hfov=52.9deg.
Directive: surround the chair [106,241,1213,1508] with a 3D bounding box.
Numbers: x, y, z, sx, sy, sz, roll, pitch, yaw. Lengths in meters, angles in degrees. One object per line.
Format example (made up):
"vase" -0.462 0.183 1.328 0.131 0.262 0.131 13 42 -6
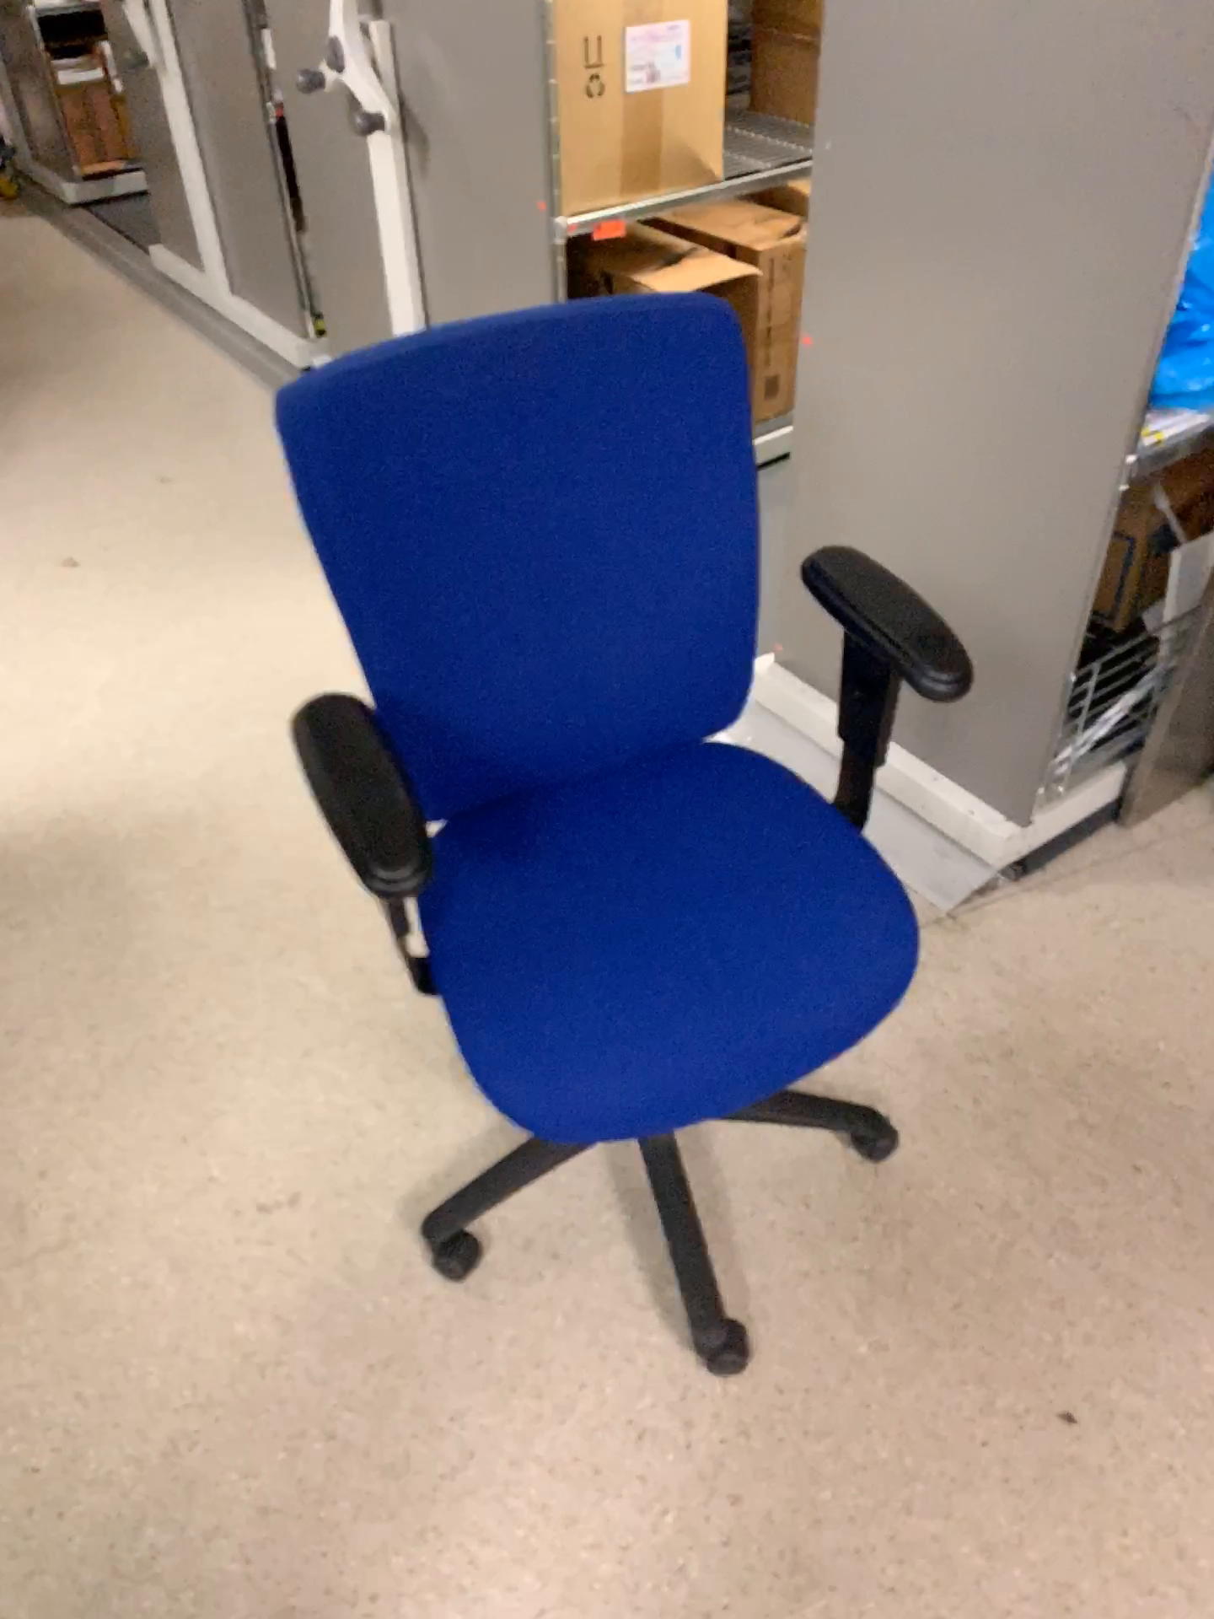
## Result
"chair" 0.015 0.032 1.323 0.671 0.931 0.766 -21 44 -21
